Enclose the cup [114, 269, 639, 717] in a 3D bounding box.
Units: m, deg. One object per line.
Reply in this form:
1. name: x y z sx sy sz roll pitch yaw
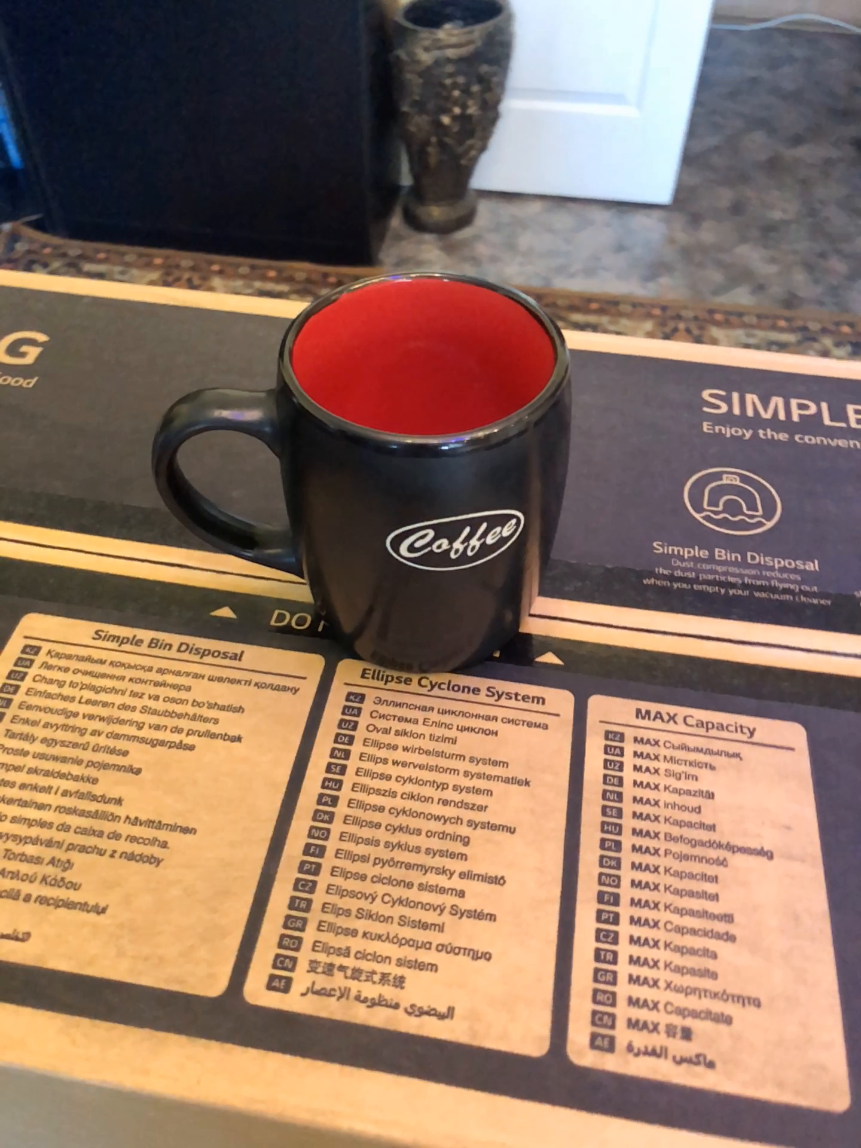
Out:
1. cup: -0.015 -0.024 0.282 0.120 0.090 0.090 -2 49 -3
